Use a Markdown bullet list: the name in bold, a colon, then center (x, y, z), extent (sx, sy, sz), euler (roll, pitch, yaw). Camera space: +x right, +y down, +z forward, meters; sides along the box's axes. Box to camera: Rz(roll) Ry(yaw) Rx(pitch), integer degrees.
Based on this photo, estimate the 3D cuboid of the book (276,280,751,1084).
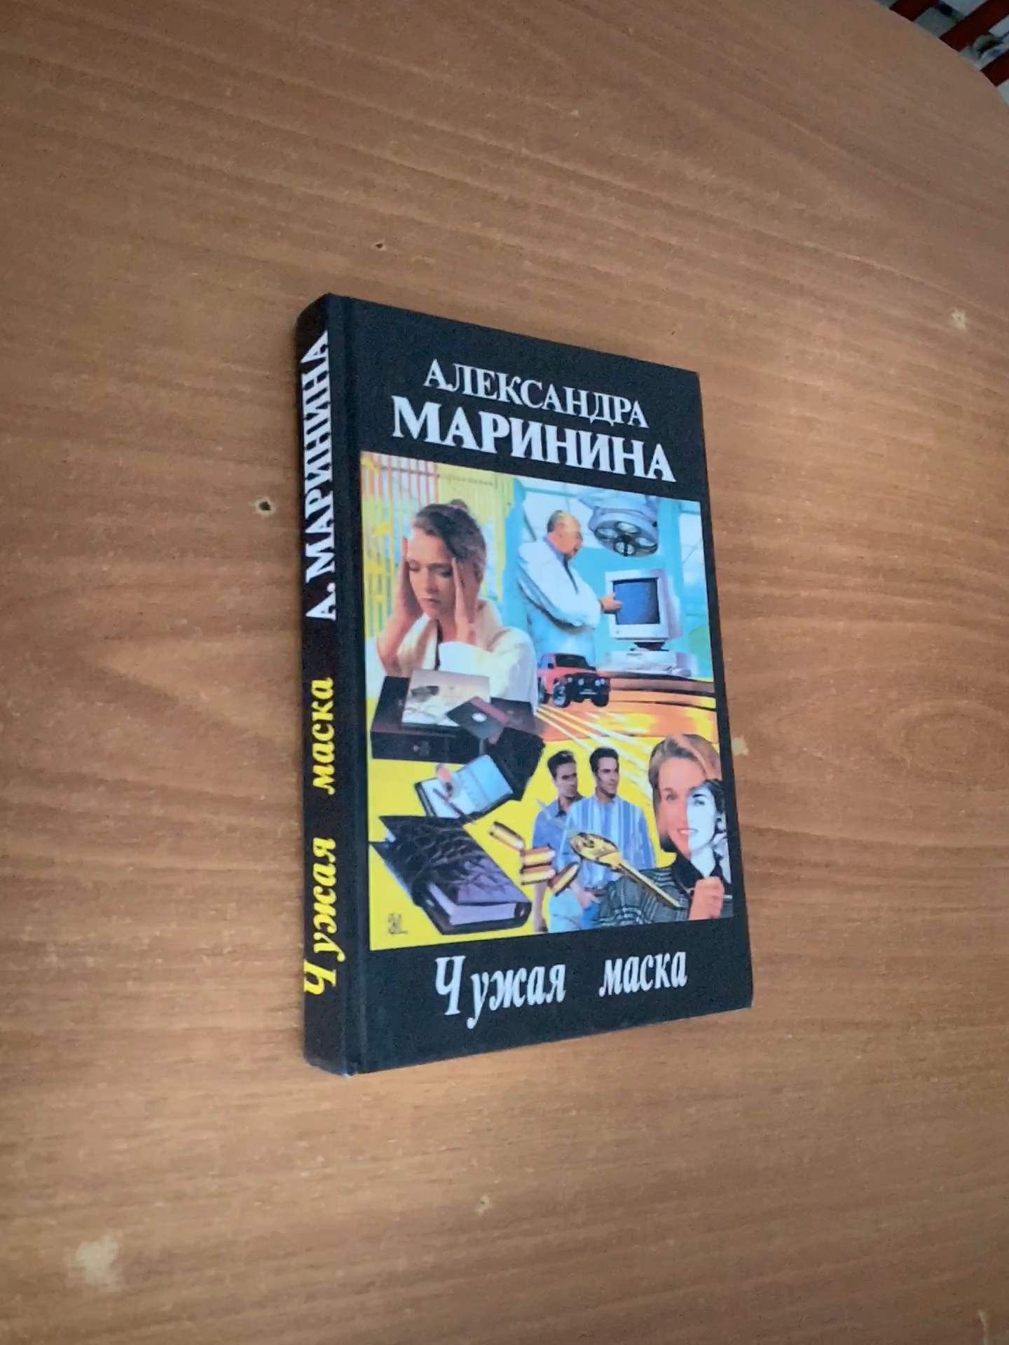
- **book**: center (0.003, 0.001, 0.298), extent (0.130, 0.030, 0.200), euler (3, 79, -29)
